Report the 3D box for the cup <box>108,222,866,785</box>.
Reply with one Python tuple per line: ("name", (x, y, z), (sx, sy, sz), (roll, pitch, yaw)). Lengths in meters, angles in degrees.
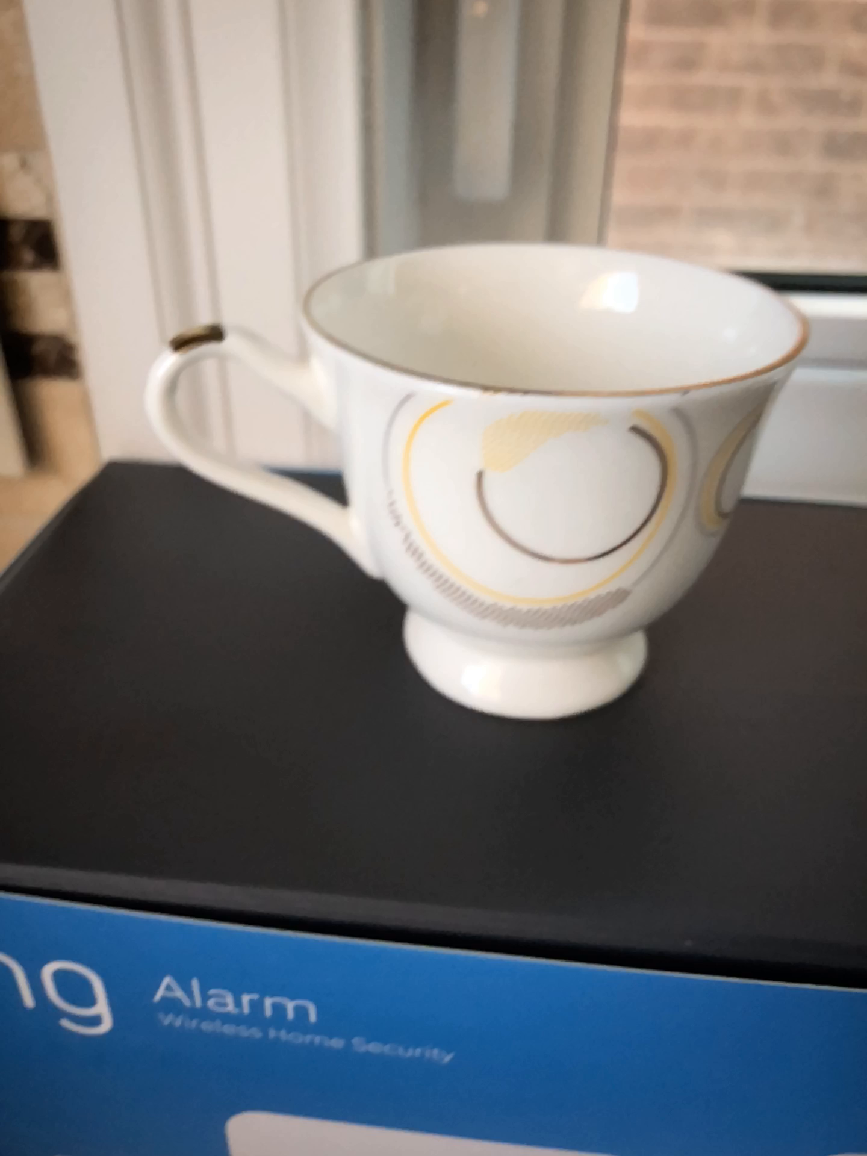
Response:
("cup", (0.011, -0.017, 0.173), (0.100, 0.066, 0.077), (1, 34, 1))
